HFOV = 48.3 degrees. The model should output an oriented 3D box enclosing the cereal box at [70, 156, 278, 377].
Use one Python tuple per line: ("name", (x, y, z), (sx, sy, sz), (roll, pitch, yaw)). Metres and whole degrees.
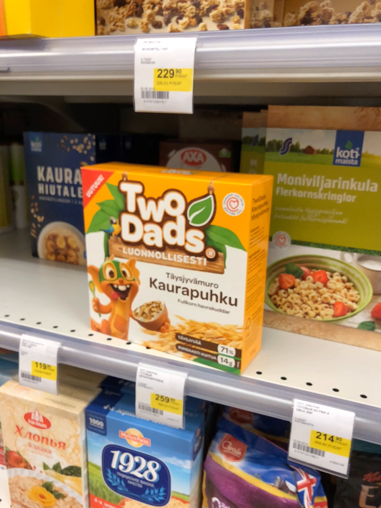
("cereal box", (-0.022, 0.000, 0.450), (0.200, 0.189, 0.070), (10, 18, 27))
